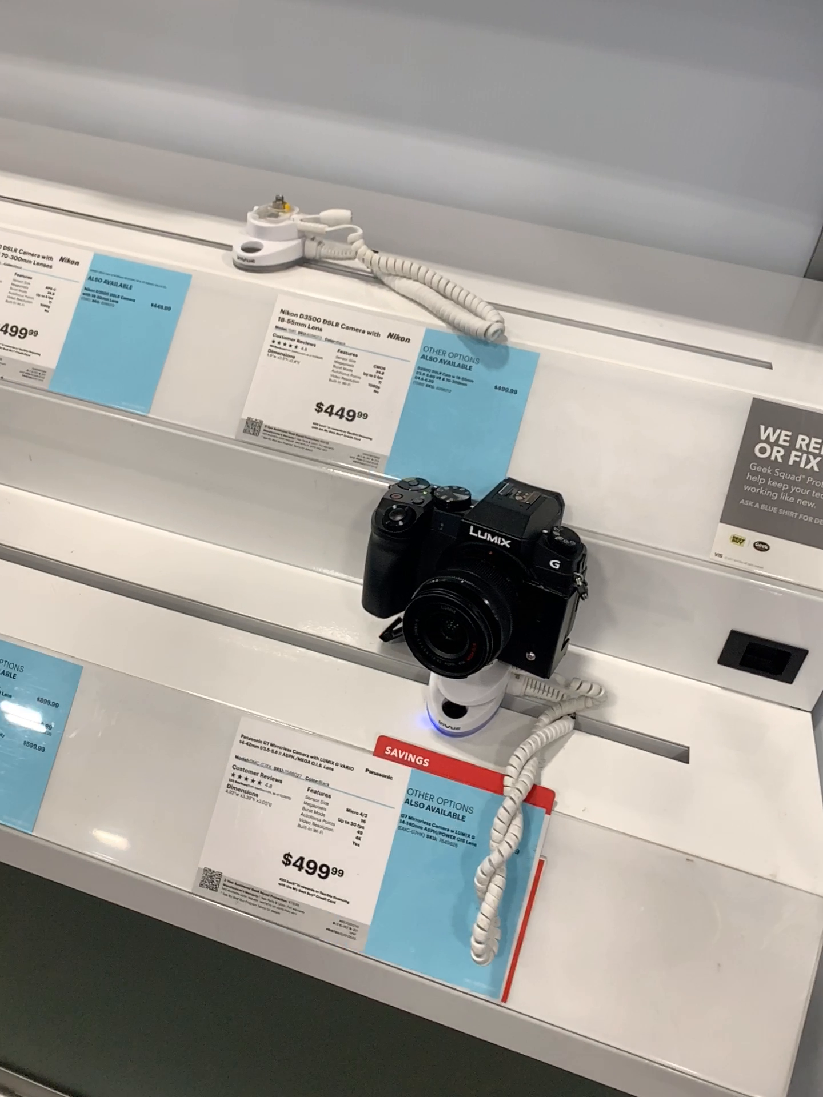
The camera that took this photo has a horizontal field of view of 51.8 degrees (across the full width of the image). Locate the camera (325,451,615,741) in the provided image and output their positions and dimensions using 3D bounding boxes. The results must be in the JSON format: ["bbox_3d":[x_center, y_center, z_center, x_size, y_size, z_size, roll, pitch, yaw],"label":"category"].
[{"bbox_3d":[0.033,0.020,0.482,0.118,0.080,0.115,22,38,19],"label":"camera"}]
